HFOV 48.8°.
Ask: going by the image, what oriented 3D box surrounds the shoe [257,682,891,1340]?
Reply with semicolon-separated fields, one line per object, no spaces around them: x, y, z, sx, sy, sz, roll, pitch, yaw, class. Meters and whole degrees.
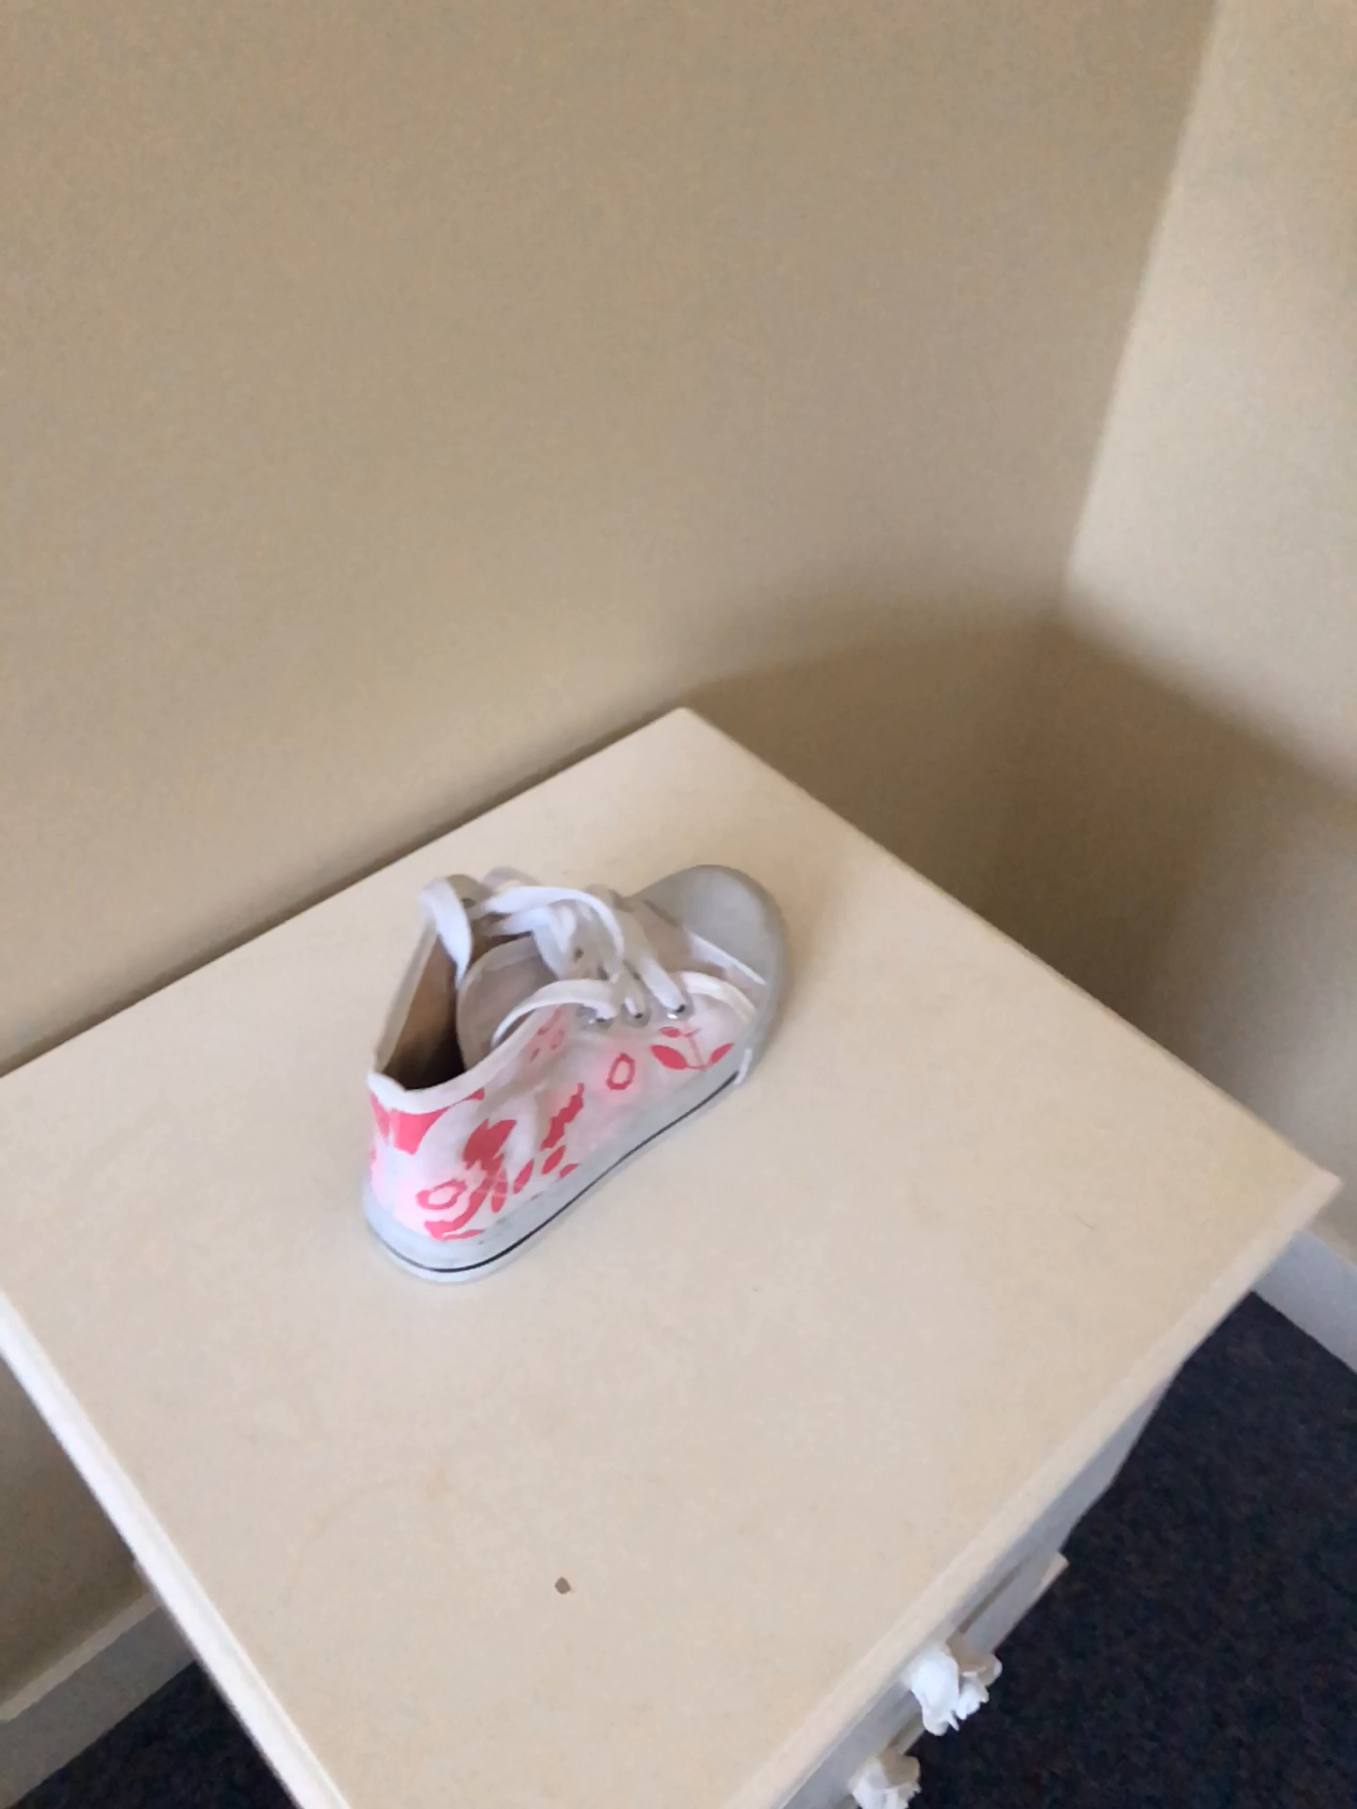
-0.026;0.027;0.485;0.080;0.099;0.191;33;53;26;shoe
